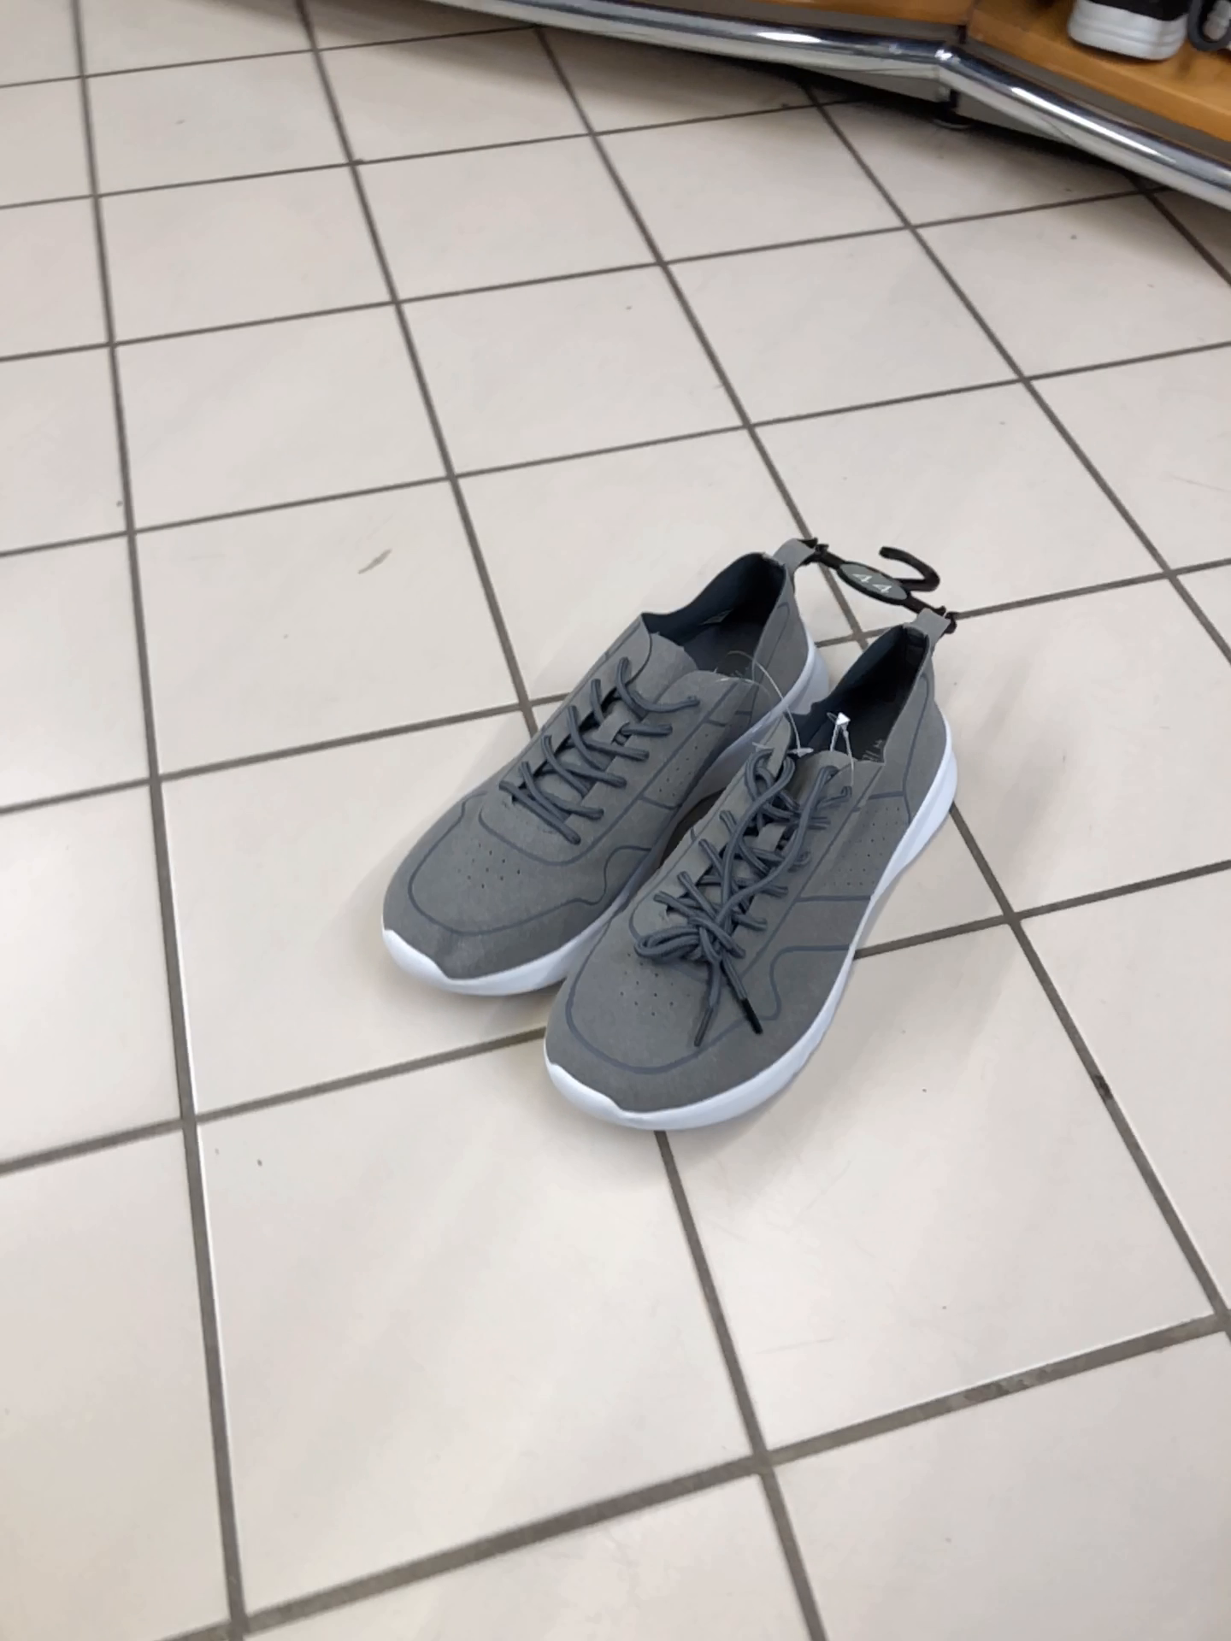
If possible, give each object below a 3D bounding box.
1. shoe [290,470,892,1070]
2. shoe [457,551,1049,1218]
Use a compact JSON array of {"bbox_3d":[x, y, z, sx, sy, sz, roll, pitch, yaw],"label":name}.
[{"bbox_3d":[-0.001,-0.036,0.652,0.110,0.099,0.291,34,60,23],"label":"shoe"},{"bbox_3d":[0.069,0.017,0.614,0.110,0.099,0.291,31,59,21],"label":"shoe"}]
